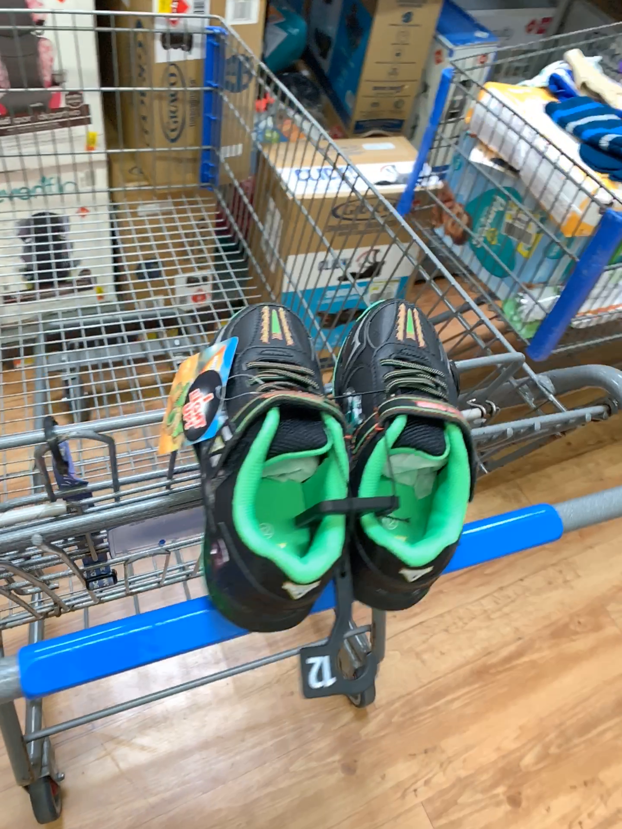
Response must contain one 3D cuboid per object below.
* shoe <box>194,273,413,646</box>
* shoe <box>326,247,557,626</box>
[{"bbox_3d":[-0.019,0.019,0.377,0.095,0.093,0.195,0,53,-11],"label":"shoe"},{"bbox_3d":[0.063,0.006,0.389,0.089,0.086,0.214,5,52,-7],"label":"shoe"}]
